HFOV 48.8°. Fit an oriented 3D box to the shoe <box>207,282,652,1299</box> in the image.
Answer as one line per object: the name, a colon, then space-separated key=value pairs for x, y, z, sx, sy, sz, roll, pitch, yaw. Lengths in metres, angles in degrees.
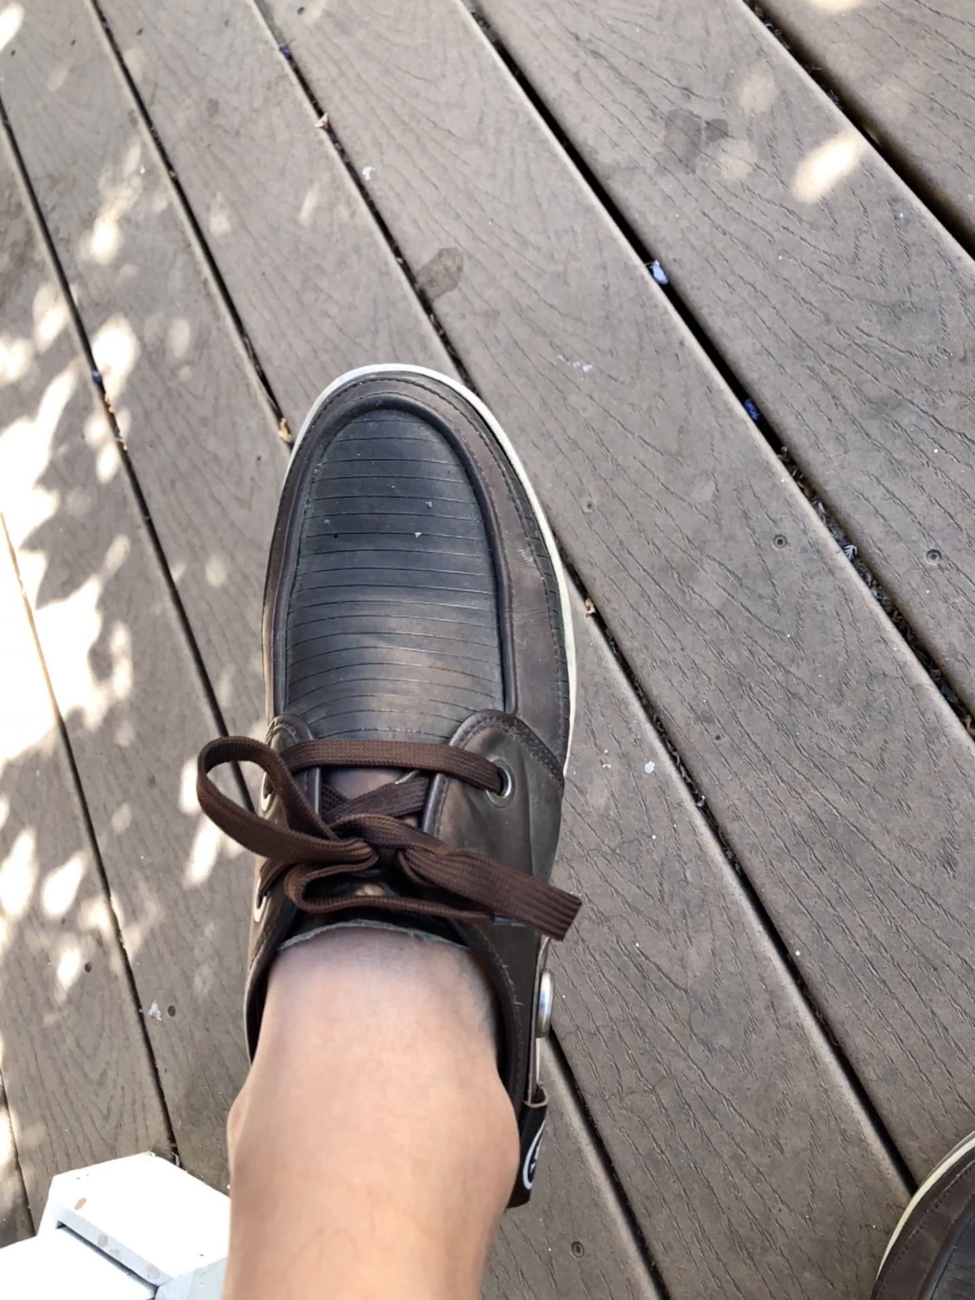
shoe: x=-0.011 y=0.052 z=0.339 sx=0.119 sy=0.104 sz=0.295 roll=-1 pitch=88 yaw=8
